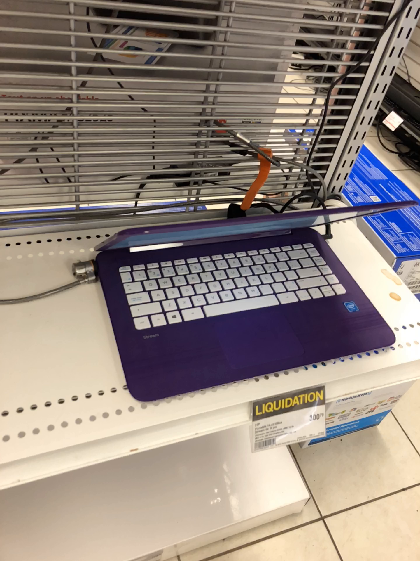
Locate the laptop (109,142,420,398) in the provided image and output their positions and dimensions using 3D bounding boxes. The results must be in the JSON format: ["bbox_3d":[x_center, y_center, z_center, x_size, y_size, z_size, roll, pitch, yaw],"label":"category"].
[{"bbox_3d":[0.057,-0.030,0.522,0.305,0.138,0.207,-8,50,-20],"label":"laptop"}]
